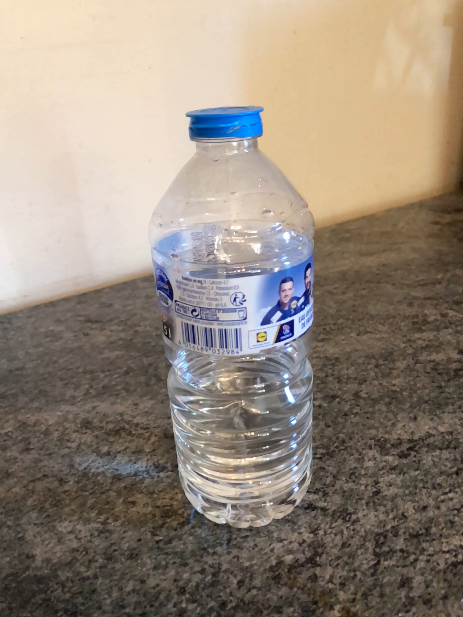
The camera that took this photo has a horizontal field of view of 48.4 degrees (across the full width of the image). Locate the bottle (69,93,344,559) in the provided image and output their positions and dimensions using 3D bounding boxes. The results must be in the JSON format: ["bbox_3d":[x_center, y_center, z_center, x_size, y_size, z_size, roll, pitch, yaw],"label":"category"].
[{"bbox_3d":[0.001,0.006,0.215,0.070,0.169,0.070,-4,26,2],"label":"bottle"}]
